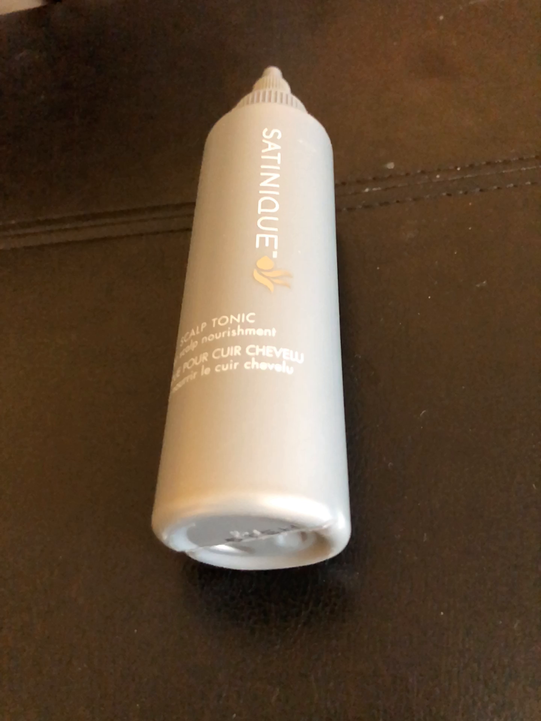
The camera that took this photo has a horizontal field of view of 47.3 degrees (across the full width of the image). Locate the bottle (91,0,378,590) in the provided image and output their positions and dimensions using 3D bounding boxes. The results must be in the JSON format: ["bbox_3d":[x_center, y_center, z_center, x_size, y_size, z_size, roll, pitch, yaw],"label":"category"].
[{"bbox_3d":[-0.002,-0.026,0.139,0.040,0.040,0.140,-4,56,7],"label":"bottle"}]
